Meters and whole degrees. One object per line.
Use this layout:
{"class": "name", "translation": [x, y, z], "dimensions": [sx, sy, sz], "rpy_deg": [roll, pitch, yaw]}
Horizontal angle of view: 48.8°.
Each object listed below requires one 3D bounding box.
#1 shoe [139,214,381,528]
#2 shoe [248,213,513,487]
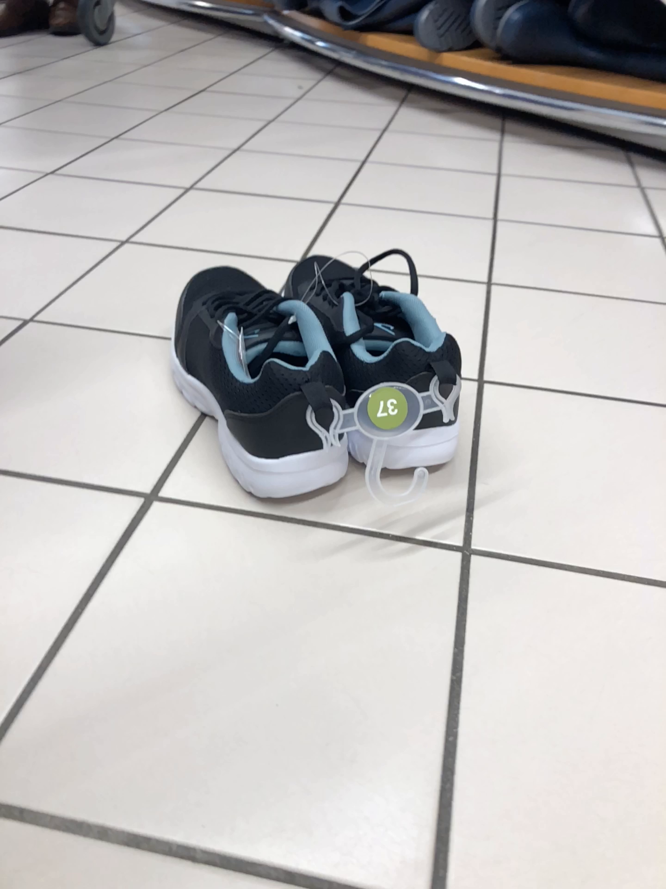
{"class": "shoe", "translation": [-0.064, -0.069, 0.531], "dimensions": [0.100, 0.109, 0.241], "rpy_deg": [-11, 38, -18]}
{"class": "shoe", "translation": [0.018, -0.087, 0.560], "dimensions": [0.100, 0.099, 0.241], "rpy_deg": [-8, 37, -21]}
